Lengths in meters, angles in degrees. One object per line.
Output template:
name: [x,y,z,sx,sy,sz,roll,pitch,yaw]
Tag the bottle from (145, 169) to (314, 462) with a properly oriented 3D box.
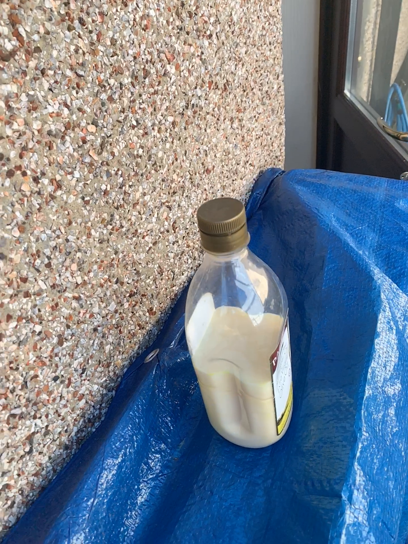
bottle: [0.035,0.047,0.335,0.080,0.237,0.081,-6,41,6]
